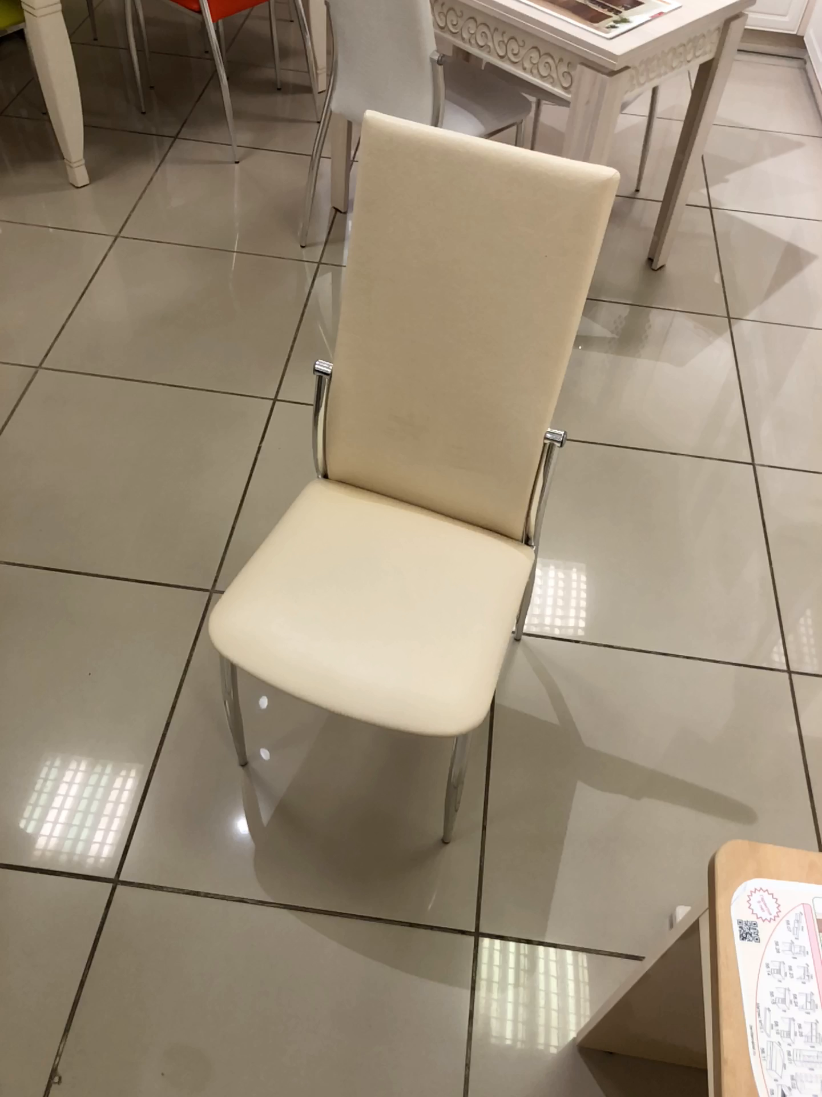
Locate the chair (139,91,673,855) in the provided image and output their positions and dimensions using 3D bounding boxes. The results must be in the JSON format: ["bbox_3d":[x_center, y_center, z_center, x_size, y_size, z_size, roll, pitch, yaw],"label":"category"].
[{"bbox_3d":[-0.004,-0.037,1.351,0.430,0.976,0.502,18,51,10],"label":"chair"}]
